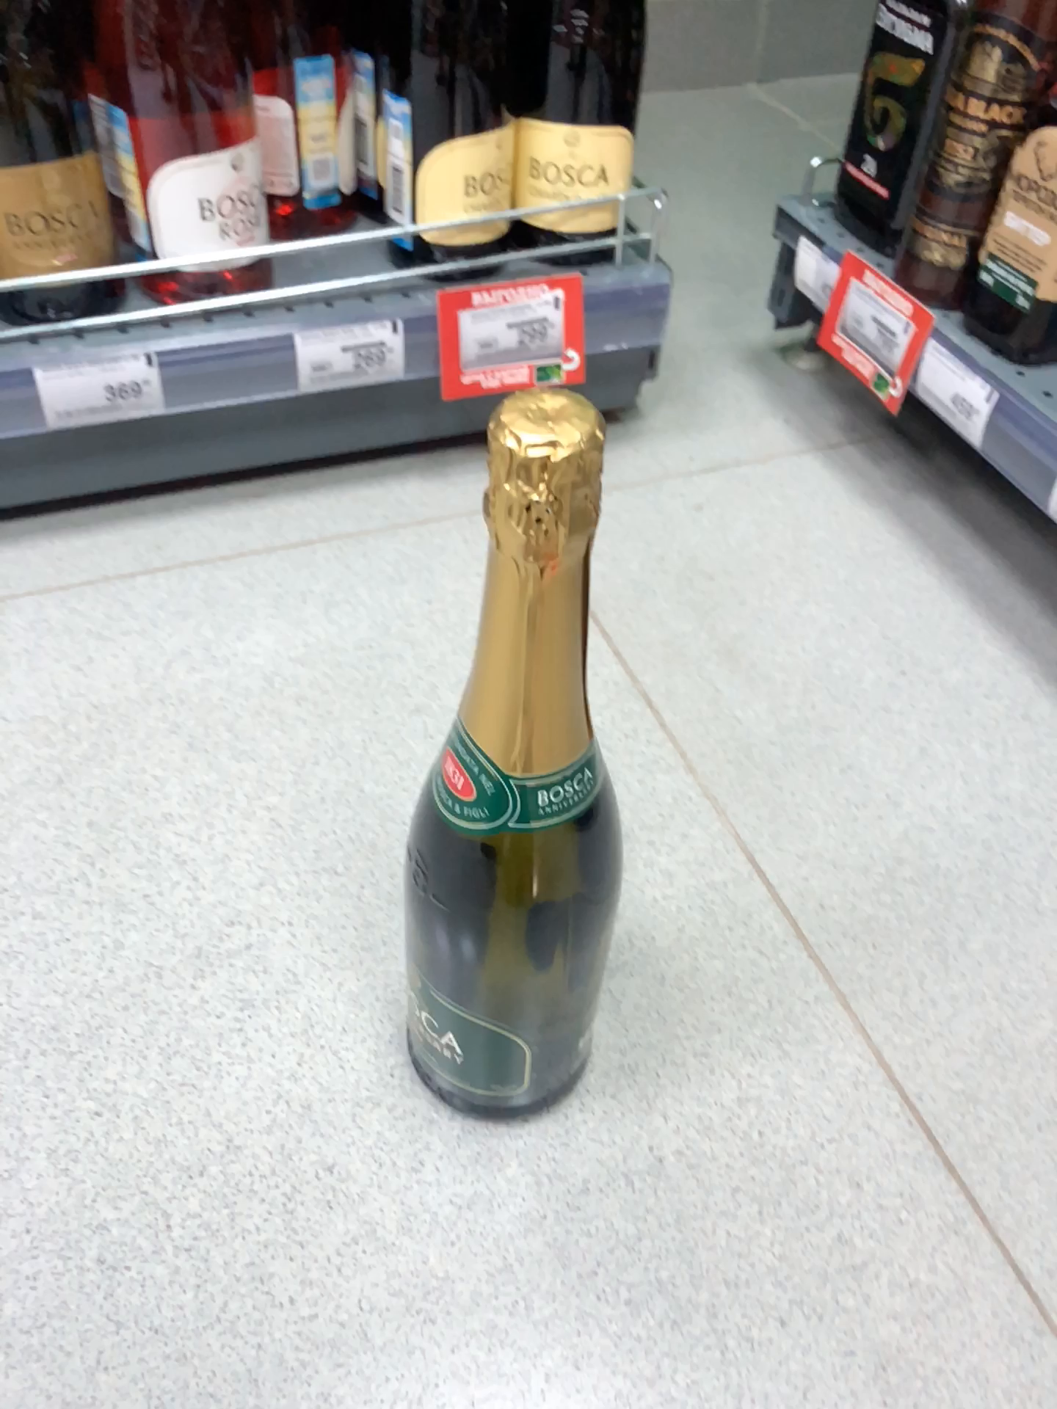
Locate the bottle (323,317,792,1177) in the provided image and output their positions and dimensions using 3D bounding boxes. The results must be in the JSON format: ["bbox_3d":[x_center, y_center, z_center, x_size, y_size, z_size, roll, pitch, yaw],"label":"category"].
[{"bbox_3d":[-0.005,0.039,0.408,0.090,0.314,0.090,3,44,-3],"label":"bottle"}]
